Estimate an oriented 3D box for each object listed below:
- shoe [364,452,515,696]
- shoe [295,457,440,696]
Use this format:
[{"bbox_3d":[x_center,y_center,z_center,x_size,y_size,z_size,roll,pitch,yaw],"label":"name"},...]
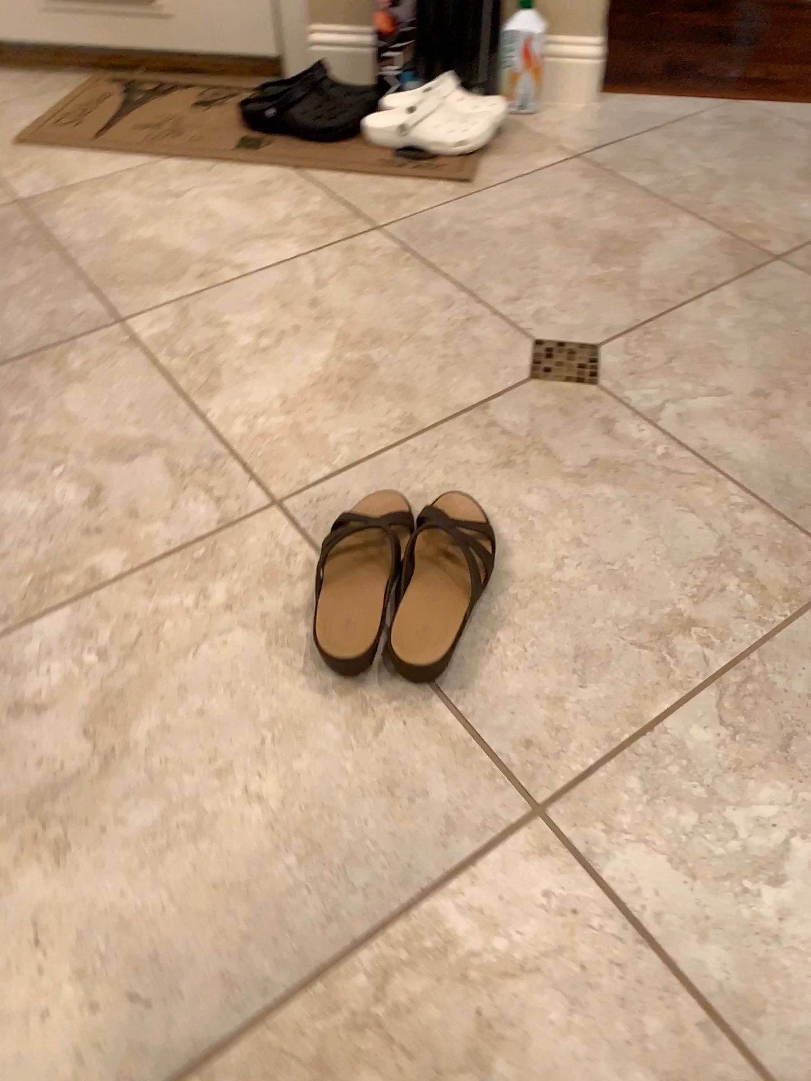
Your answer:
[{"bbox_3d":[0.043,0.028,0.925,0.110,0.092,0.259,10,49,10],"label":"shoe"},{"bbox_3d":[-0.035,0.033,0.948,0.110,0.092,0.265,7,48,7],"label":"shoe"}]
